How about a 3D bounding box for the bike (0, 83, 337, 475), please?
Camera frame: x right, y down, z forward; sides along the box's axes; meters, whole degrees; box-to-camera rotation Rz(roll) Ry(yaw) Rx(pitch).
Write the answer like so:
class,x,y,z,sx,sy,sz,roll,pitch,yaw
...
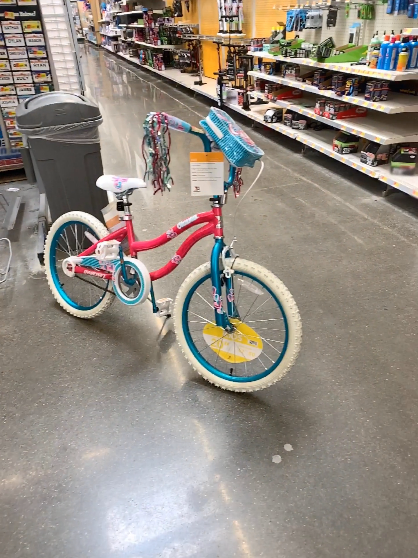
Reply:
class,x,y,z,sx,sy,sz,roll,pitch,yaw
bike,-0.223,-0.138,1.684,1.262,0.929,0.655,20,37,27
